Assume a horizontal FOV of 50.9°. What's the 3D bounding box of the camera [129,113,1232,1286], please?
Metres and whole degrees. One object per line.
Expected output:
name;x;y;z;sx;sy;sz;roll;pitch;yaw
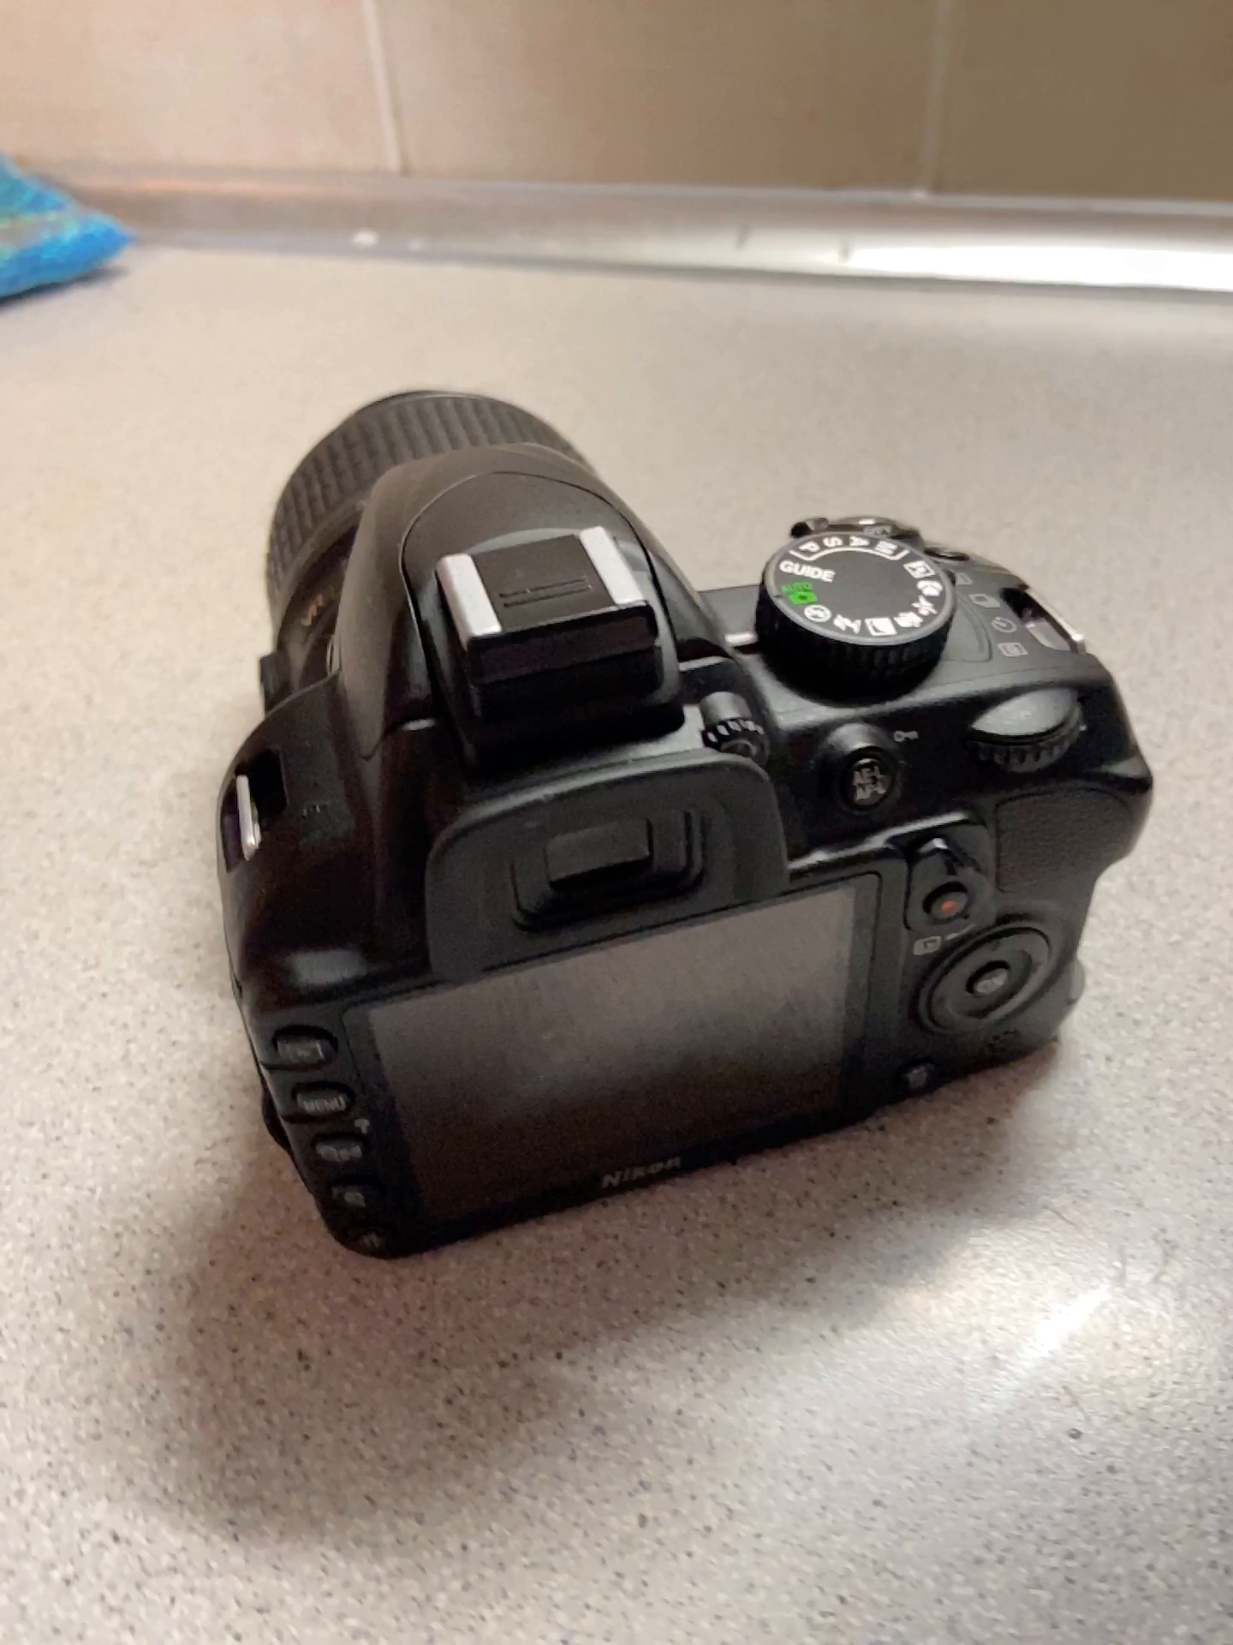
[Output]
camera;-0.007;-0.041;0.222;0.122;0.091;0.178;-14;43;-9
